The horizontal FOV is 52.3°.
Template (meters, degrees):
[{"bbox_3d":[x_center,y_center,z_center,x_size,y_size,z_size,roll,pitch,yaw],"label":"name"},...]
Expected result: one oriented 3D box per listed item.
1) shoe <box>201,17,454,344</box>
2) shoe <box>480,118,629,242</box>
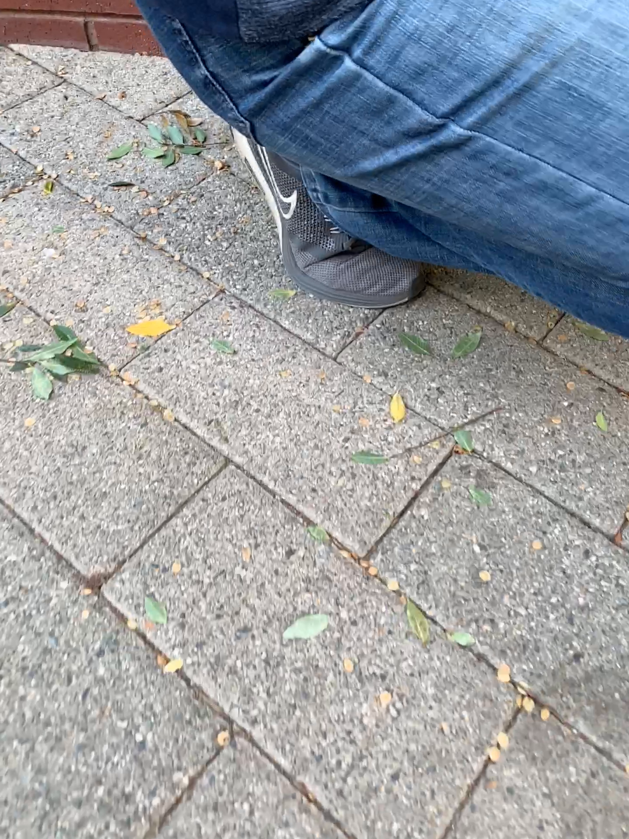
[{"bbox_3d":[0.018,-0.225,0.650,0.116,0.273,0.098,-37,22,-22],"label":"shoe"},{"bbox_3d":[0.356,-0.290,0.776,0.279,0.083,0.111,2,54,0],"label":"shoe"}]
